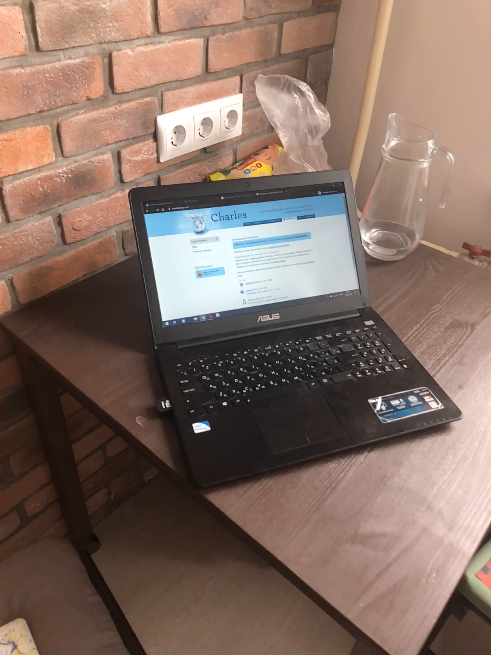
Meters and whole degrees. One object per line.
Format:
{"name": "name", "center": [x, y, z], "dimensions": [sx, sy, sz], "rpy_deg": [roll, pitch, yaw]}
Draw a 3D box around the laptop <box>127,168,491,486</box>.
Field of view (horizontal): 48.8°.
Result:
{"name": "laptop", "center": [0.058, -0.042, 0.767], "dimensions": [0.372, 0.186, 0.401], "rpy_deg": [-10, 40, -16]}
